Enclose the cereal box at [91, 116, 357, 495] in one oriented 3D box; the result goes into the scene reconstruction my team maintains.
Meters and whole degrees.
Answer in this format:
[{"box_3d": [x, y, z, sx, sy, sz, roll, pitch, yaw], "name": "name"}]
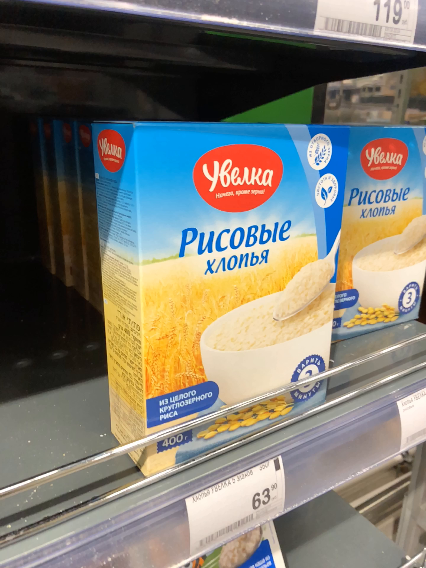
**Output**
[{"box_3d": [0.009, 0.003, 0.294, 0.140, 0.199, 0.060, -12, 22, -33], "name": "cereal box"}]
